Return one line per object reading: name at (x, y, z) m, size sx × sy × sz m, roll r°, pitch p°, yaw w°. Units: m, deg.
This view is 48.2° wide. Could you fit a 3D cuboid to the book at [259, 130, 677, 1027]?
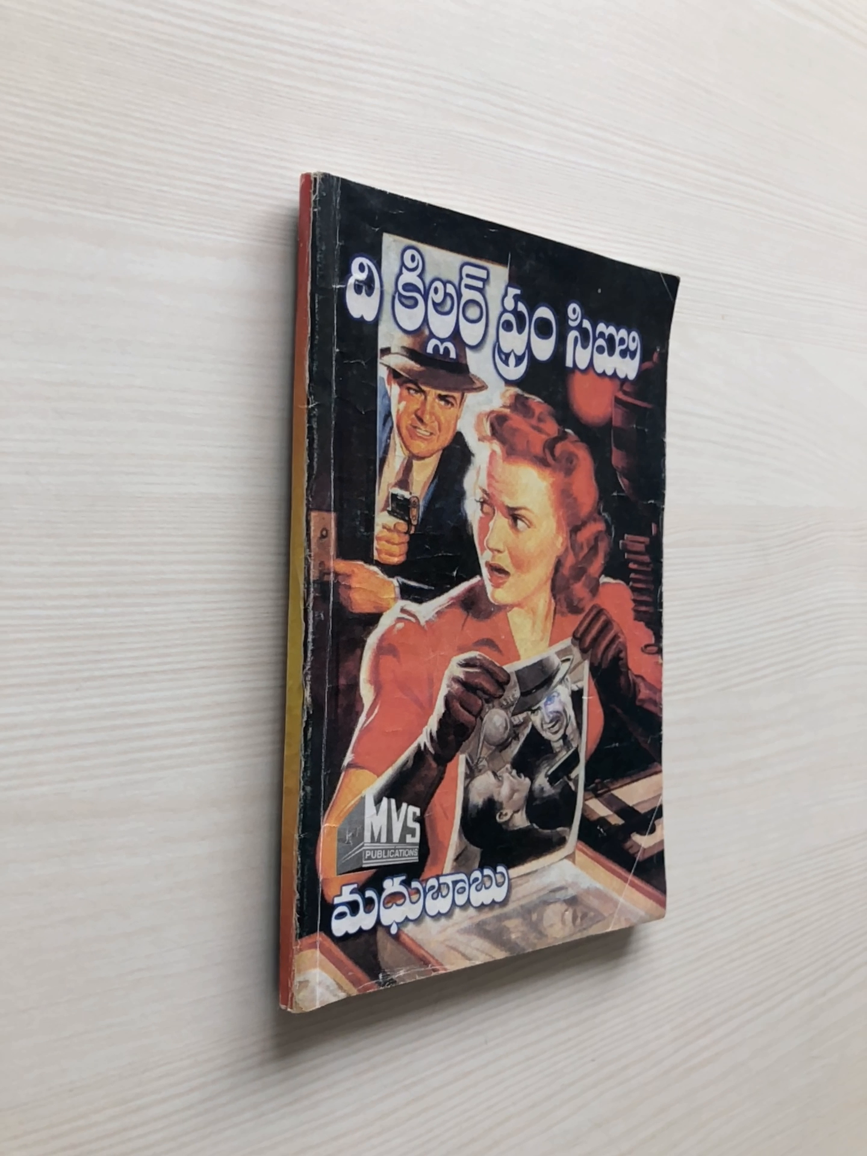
book at (0.014, 0.000, 0.207) m, size 0.100 × 0.012 × 0.160 m, roll 4°, pitch 85°, yaw -36°
